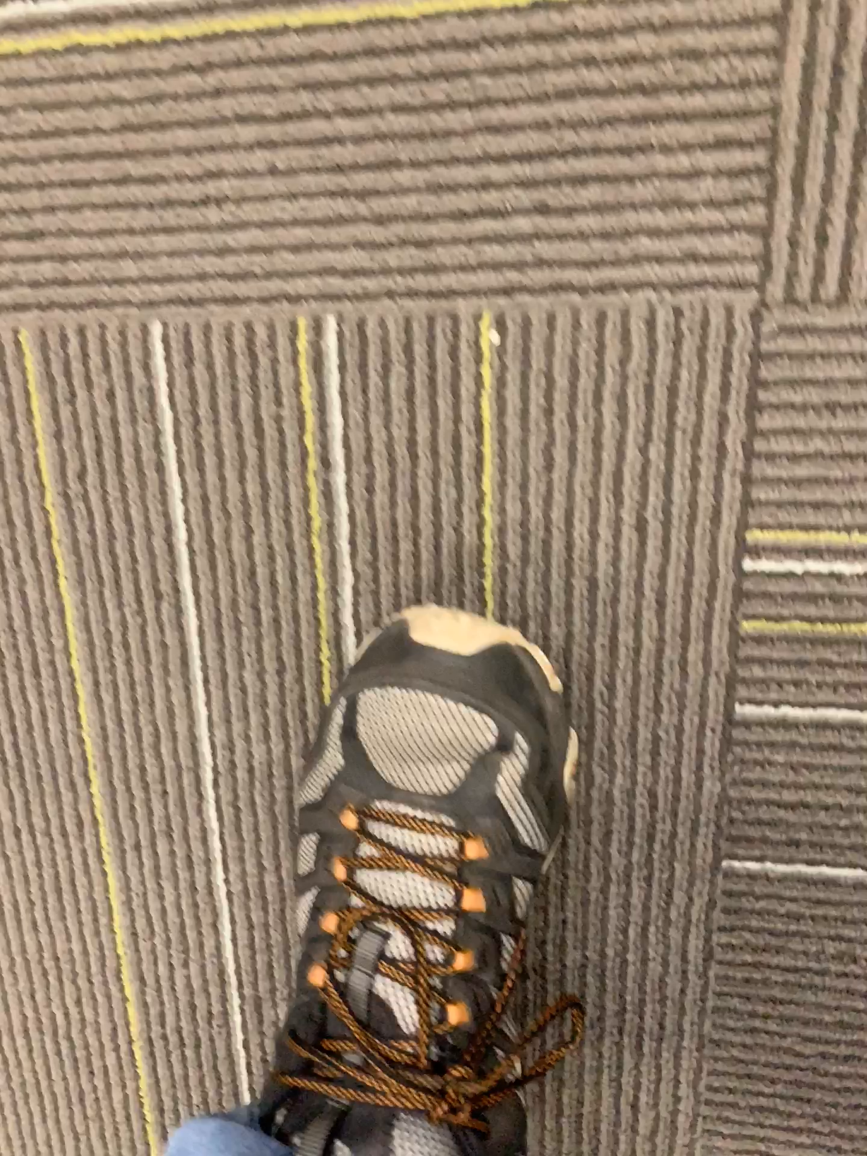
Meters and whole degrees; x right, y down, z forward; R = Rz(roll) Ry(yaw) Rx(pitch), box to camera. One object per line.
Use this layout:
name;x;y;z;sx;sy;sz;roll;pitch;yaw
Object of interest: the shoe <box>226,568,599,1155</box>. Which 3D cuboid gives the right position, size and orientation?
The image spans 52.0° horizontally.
shoe;-0.009;0.169;0.392;0.125;0.095;0.324;6;109;9
